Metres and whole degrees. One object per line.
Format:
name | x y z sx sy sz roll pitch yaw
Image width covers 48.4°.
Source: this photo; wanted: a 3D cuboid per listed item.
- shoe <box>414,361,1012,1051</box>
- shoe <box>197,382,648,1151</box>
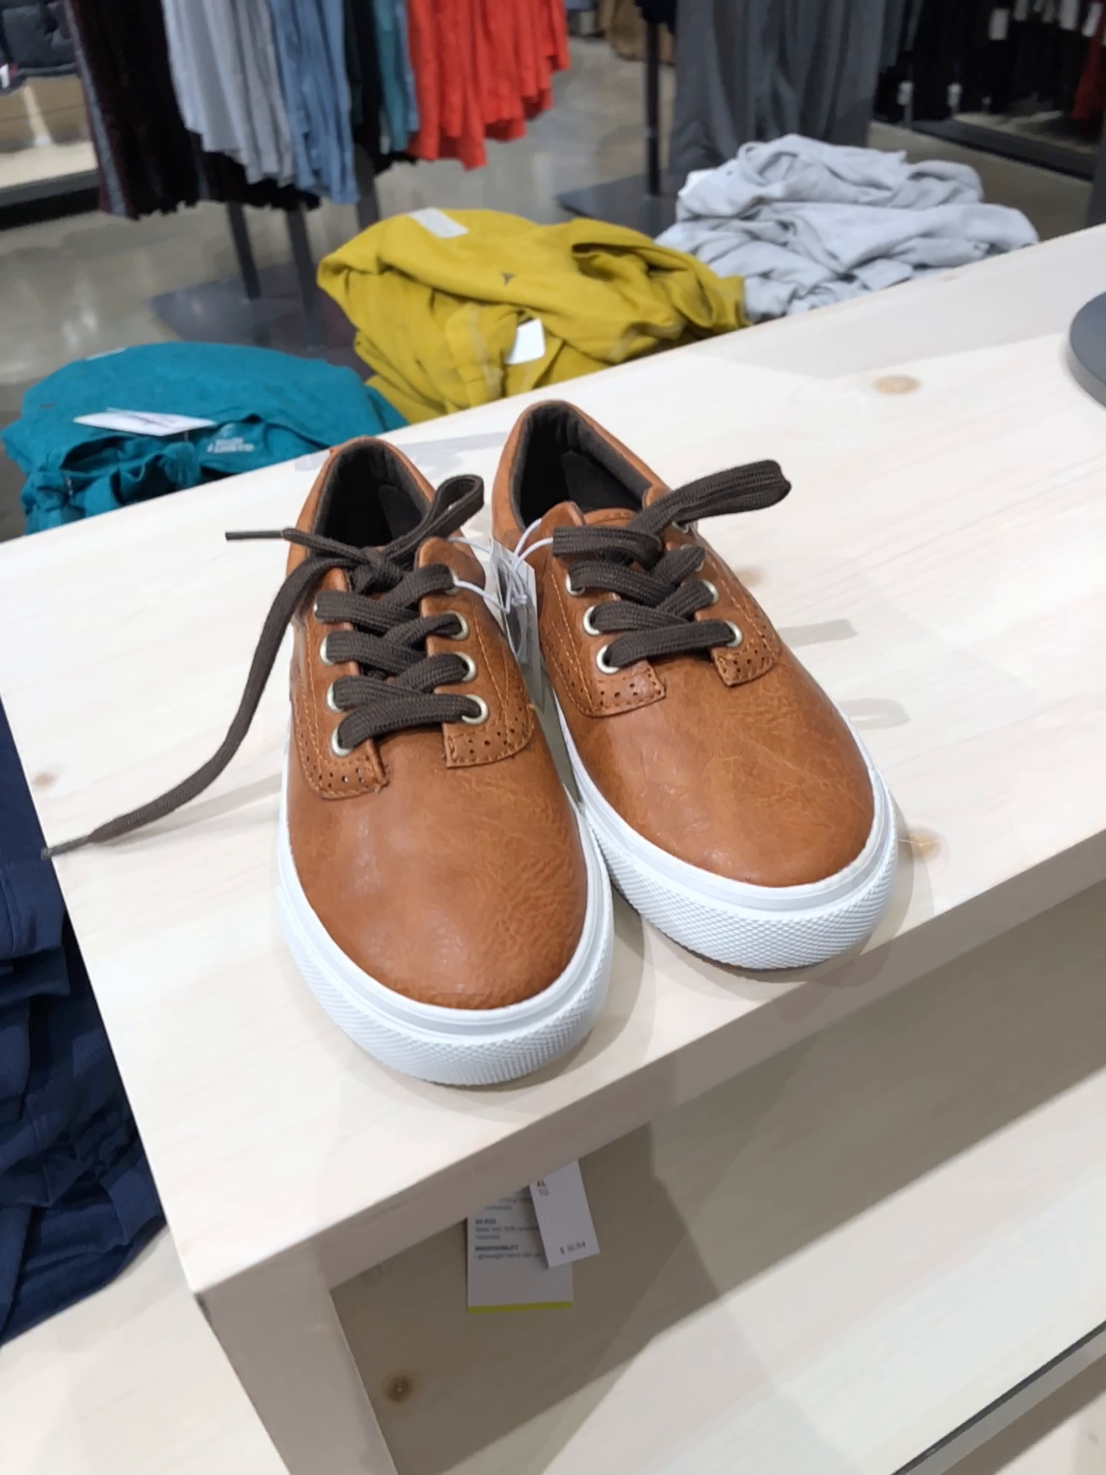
shoe | 0.030 -0.027 0.365 0.090 0.080 0.211 -14 40 -11
shoe | -0.047 -0.011 0.359 0.090 0.090 0.221 -11 40 -8
